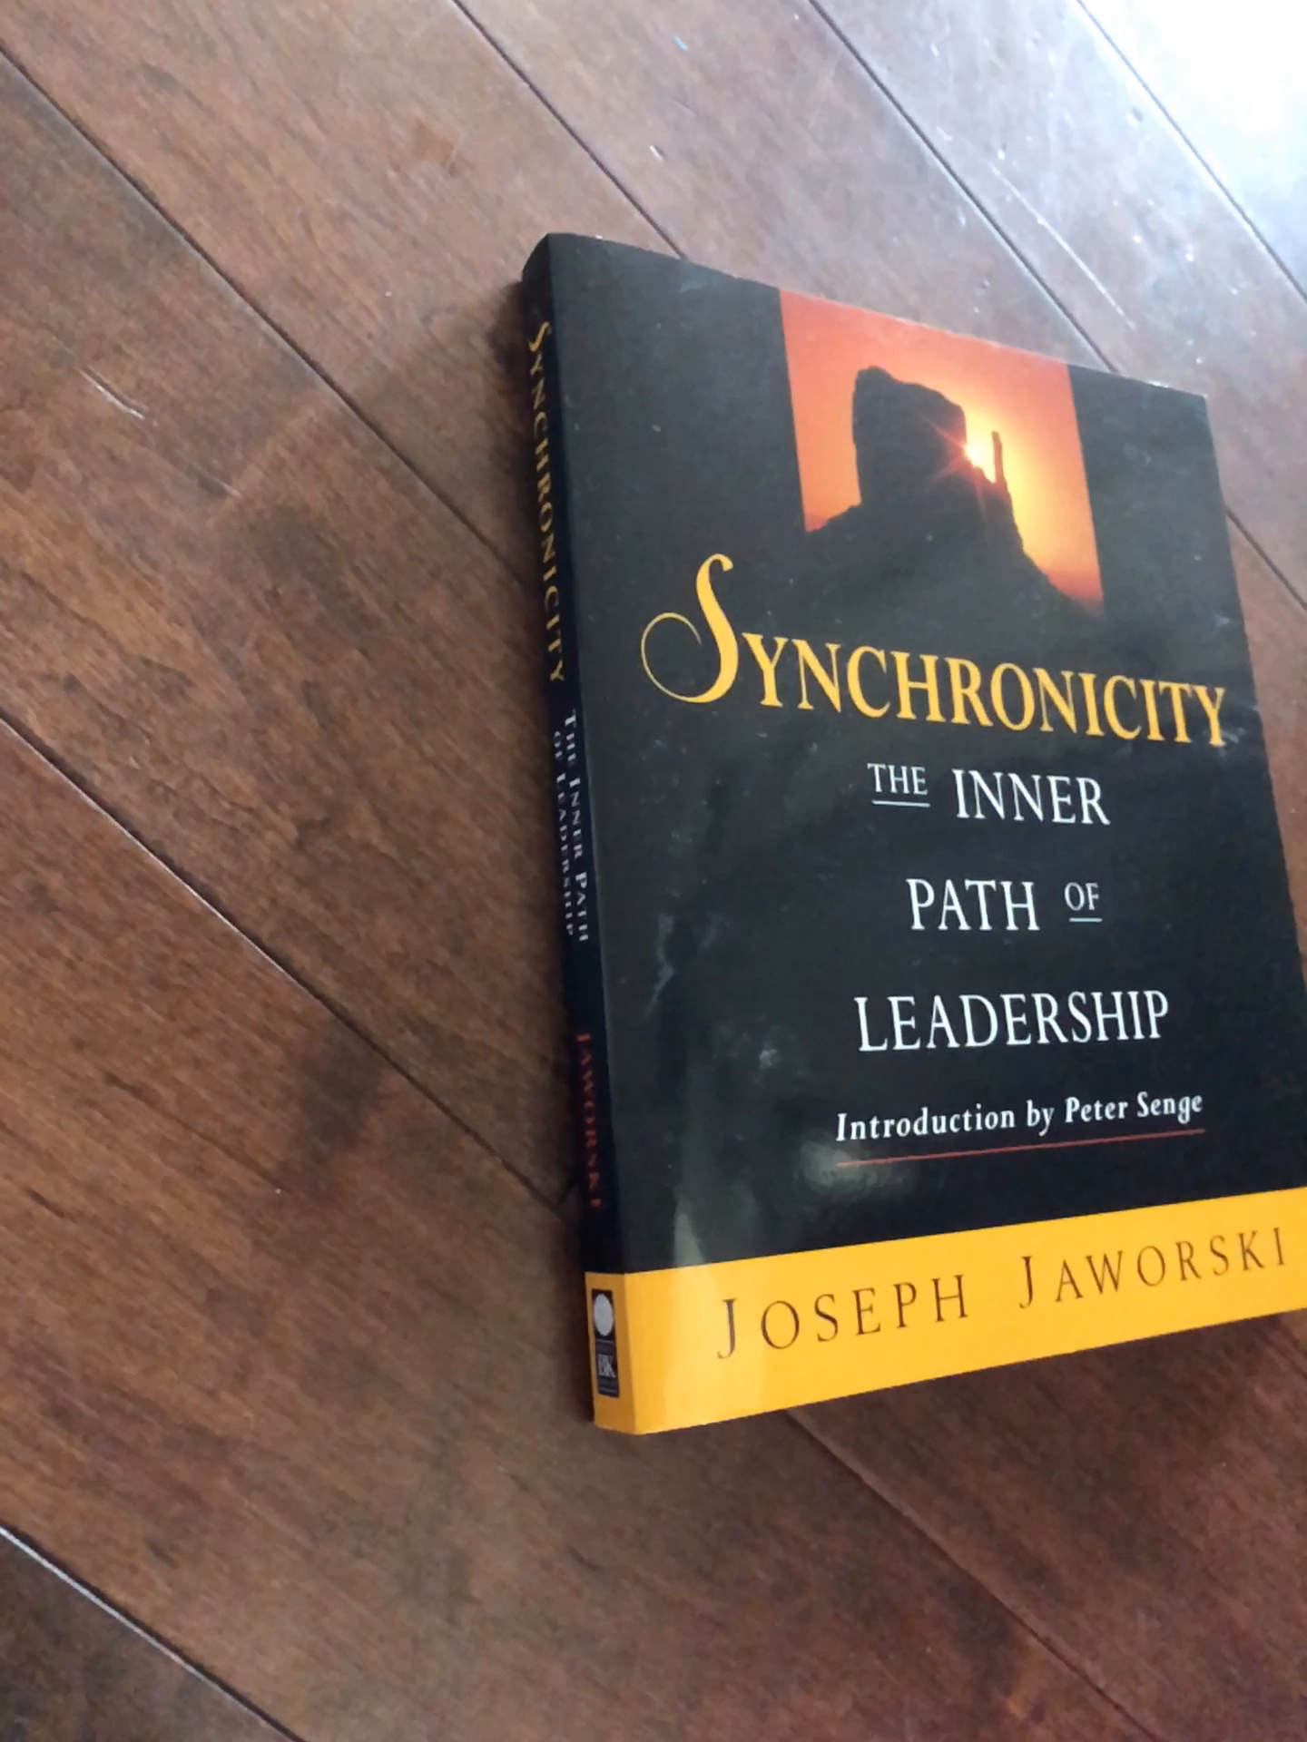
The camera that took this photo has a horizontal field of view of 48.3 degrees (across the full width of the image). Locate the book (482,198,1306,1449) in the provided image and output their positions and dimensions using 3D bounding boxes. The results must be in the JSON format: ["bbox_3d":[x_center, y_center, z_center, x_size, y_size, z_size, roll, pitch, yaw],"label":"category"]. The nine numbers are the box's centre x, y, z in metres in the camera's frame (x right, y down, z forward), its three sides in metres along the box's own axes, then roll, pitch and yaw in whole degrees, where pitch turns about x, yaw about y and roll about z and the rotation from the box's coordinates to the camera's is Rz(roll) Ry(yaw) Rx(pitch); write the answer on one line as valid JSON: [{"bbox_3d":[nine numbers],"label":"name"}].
[{"bbox_3d":[0.066,-0.013,0.311,0.191,0.030,0.222,0,78,-29],"label":"book"}]
